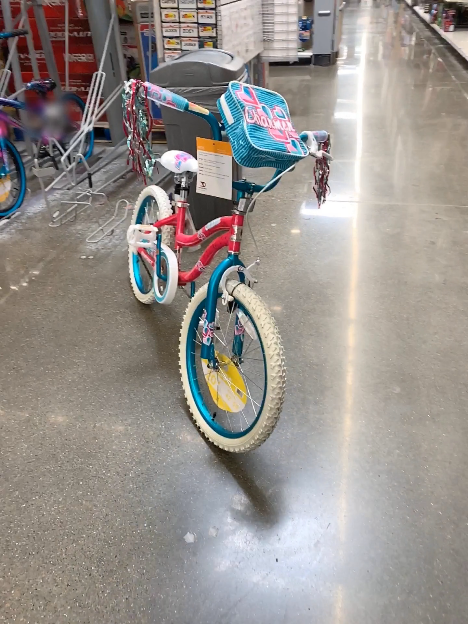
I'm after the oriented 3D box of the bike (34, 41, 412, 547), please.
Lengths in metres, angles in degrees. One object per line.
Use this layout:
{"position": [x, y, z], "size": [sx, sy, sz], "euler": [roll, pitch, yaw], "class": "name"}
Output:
{"position": [-0.139, -0.234, 1.591], "size": [0.653, 0.929, 1.267], "euler": [-16, 40, -20], "class": "bike"}
